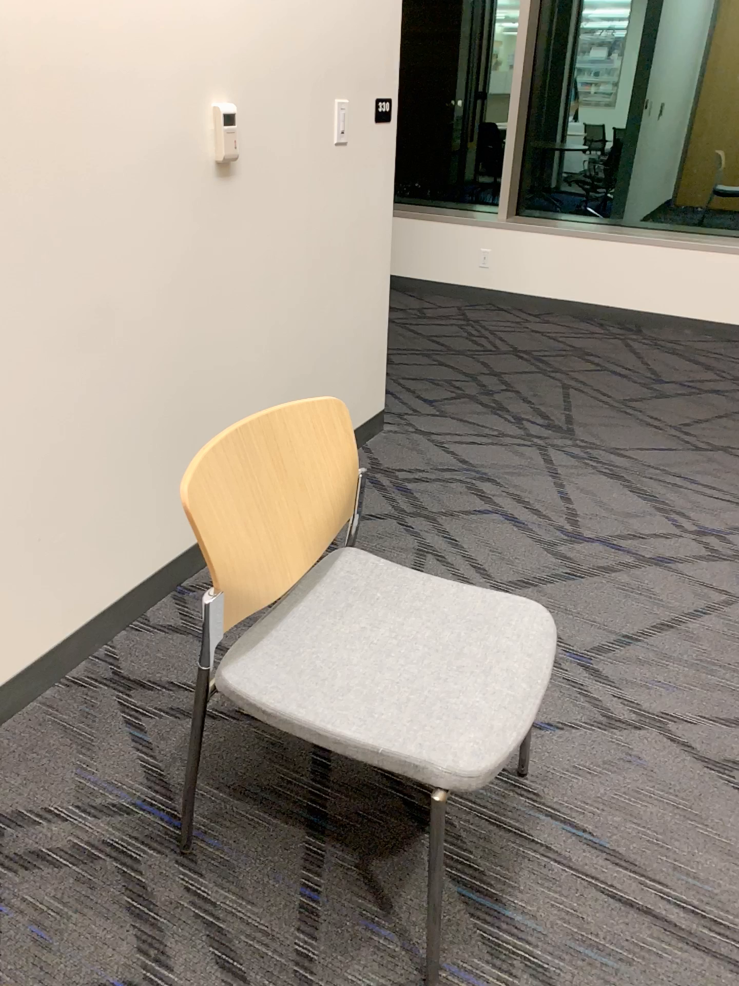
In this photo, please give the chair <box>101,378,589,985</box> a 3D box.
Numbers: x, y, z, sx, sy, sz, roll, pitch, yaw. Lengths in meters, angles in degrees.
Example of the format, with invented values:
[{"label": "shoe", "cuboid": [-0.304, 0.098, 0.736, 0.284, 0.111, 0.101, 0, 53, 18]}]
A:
[{"label": "chair", "cuboid": [-0.006, 0.269, 1.282, 0.536, 0.704, 0.557, 14, 30, 21]}]
